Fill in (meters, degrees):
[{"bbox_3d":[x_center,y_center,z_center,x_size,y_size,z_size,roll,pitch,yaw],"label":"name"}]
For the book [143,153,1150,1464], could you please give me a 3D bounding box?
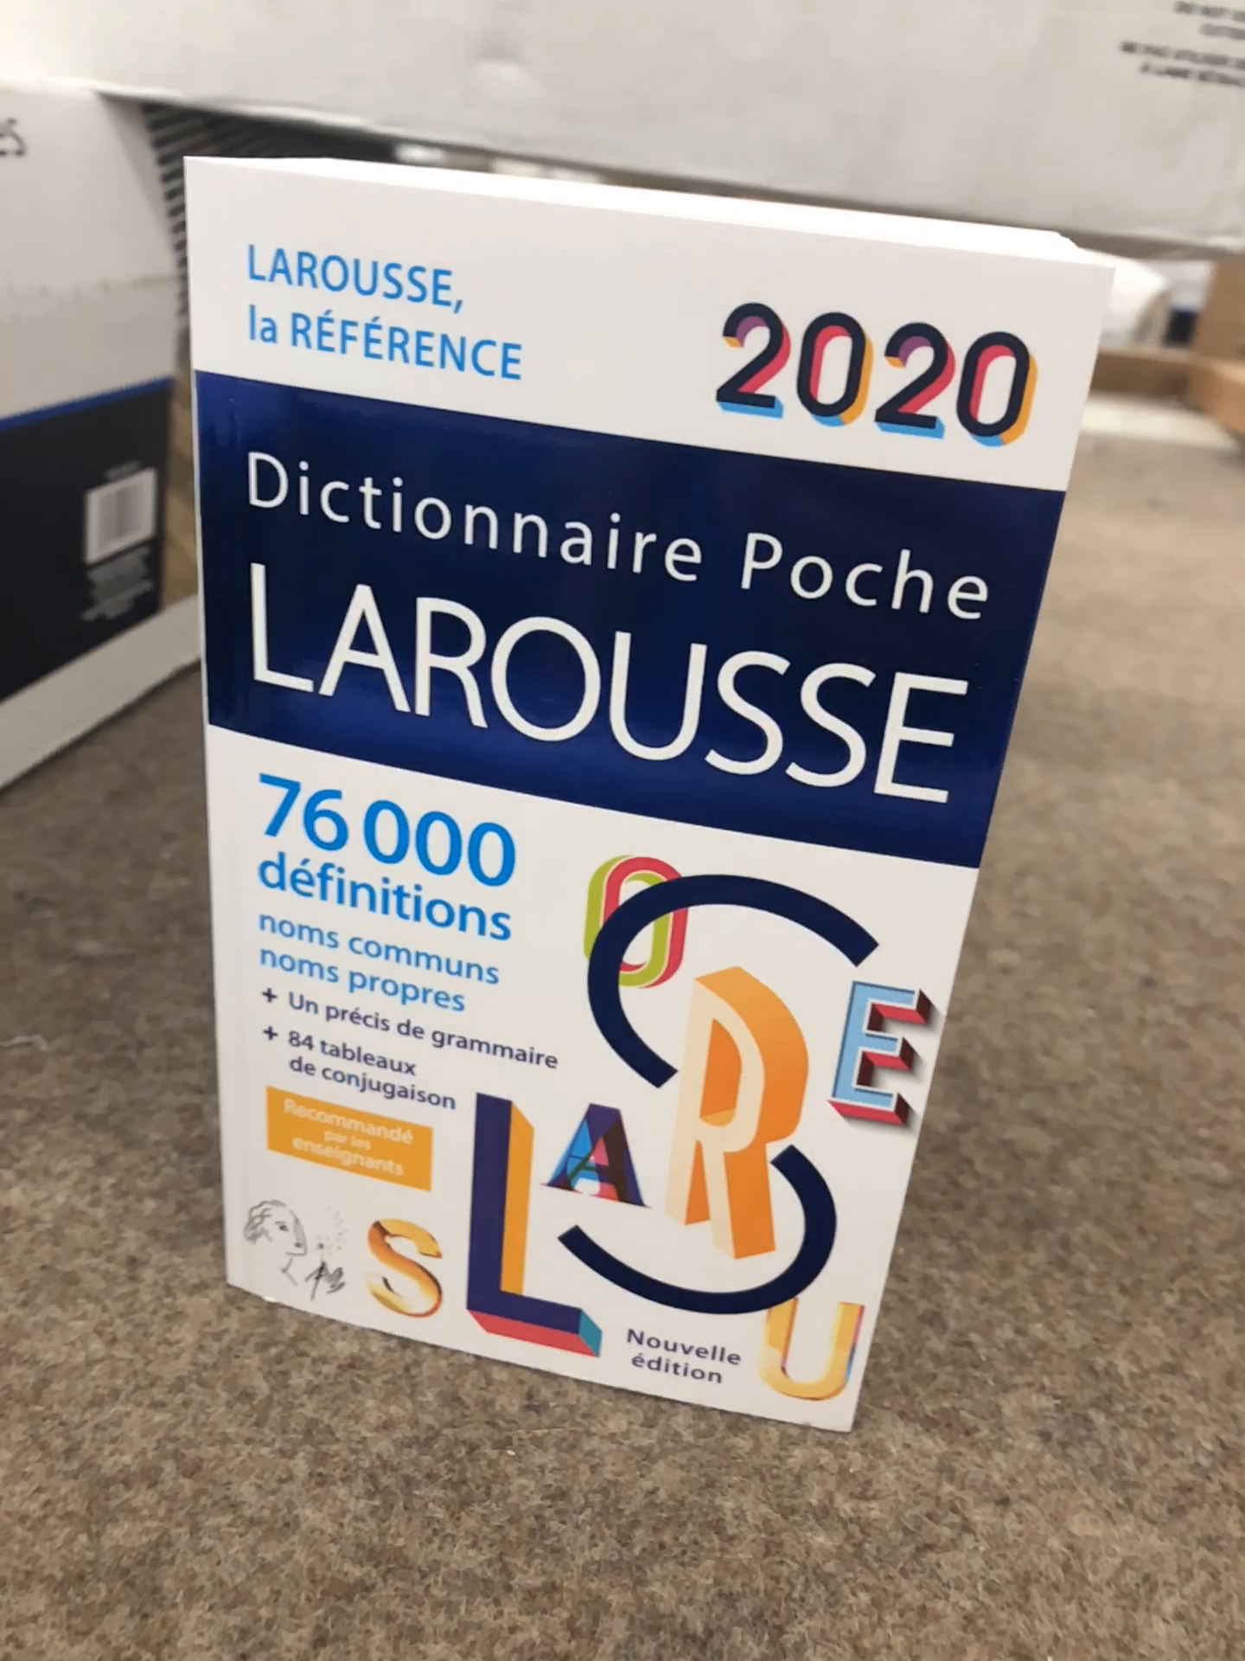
[{"bbox_3d":[-0.002,-0.002,0.214,0.111,0.173,0.061,10,26,9],"label":"book"}]
